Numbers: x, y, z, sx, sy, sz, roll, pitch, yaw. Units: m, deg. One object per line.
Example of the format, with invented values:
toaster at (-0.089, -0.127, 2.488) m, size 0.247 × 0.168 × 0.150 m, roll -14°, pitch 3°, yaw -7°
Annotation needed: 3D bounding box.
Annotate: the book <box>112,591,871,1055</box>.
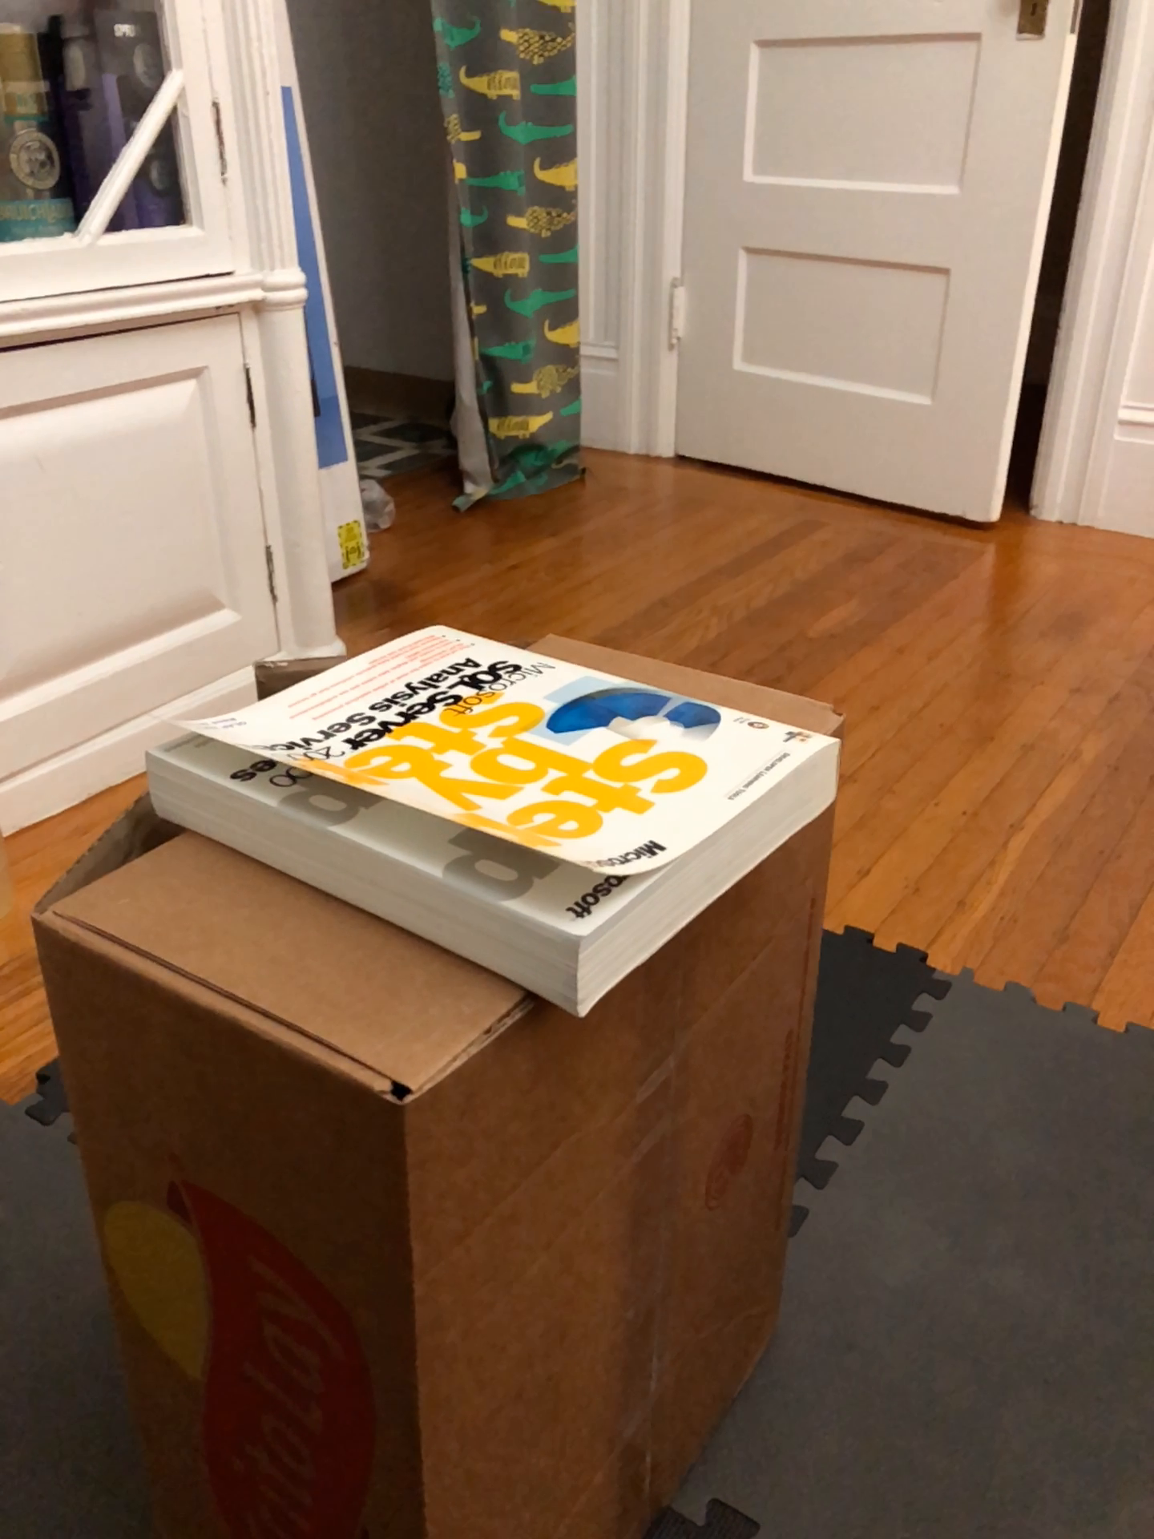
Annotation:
book at (-0.030, 0.000, 0.532) m, size 0.240 × 0.050 × 0.201 m, roll 15°, pitch 34°, yaw 29°
